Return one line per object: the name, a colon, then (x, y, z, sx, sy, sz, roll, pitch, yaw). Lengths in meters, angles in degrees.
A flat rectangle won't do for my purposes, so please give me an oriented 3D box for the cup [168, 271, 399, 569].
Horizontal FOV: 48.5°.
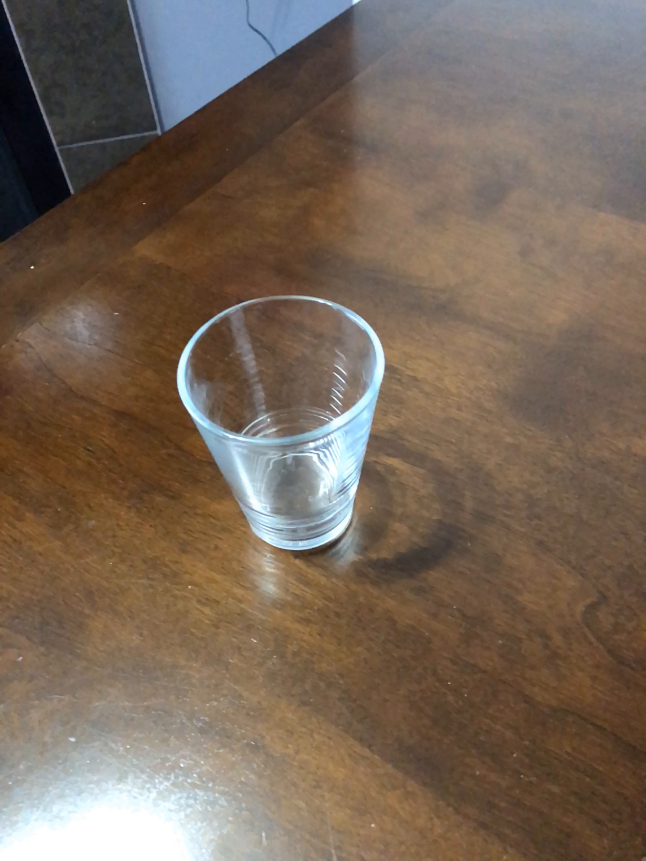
cup: (-0.016, -0.002, 0.311, 0.080, 0.100, 0.070, -9, 50, -4)
